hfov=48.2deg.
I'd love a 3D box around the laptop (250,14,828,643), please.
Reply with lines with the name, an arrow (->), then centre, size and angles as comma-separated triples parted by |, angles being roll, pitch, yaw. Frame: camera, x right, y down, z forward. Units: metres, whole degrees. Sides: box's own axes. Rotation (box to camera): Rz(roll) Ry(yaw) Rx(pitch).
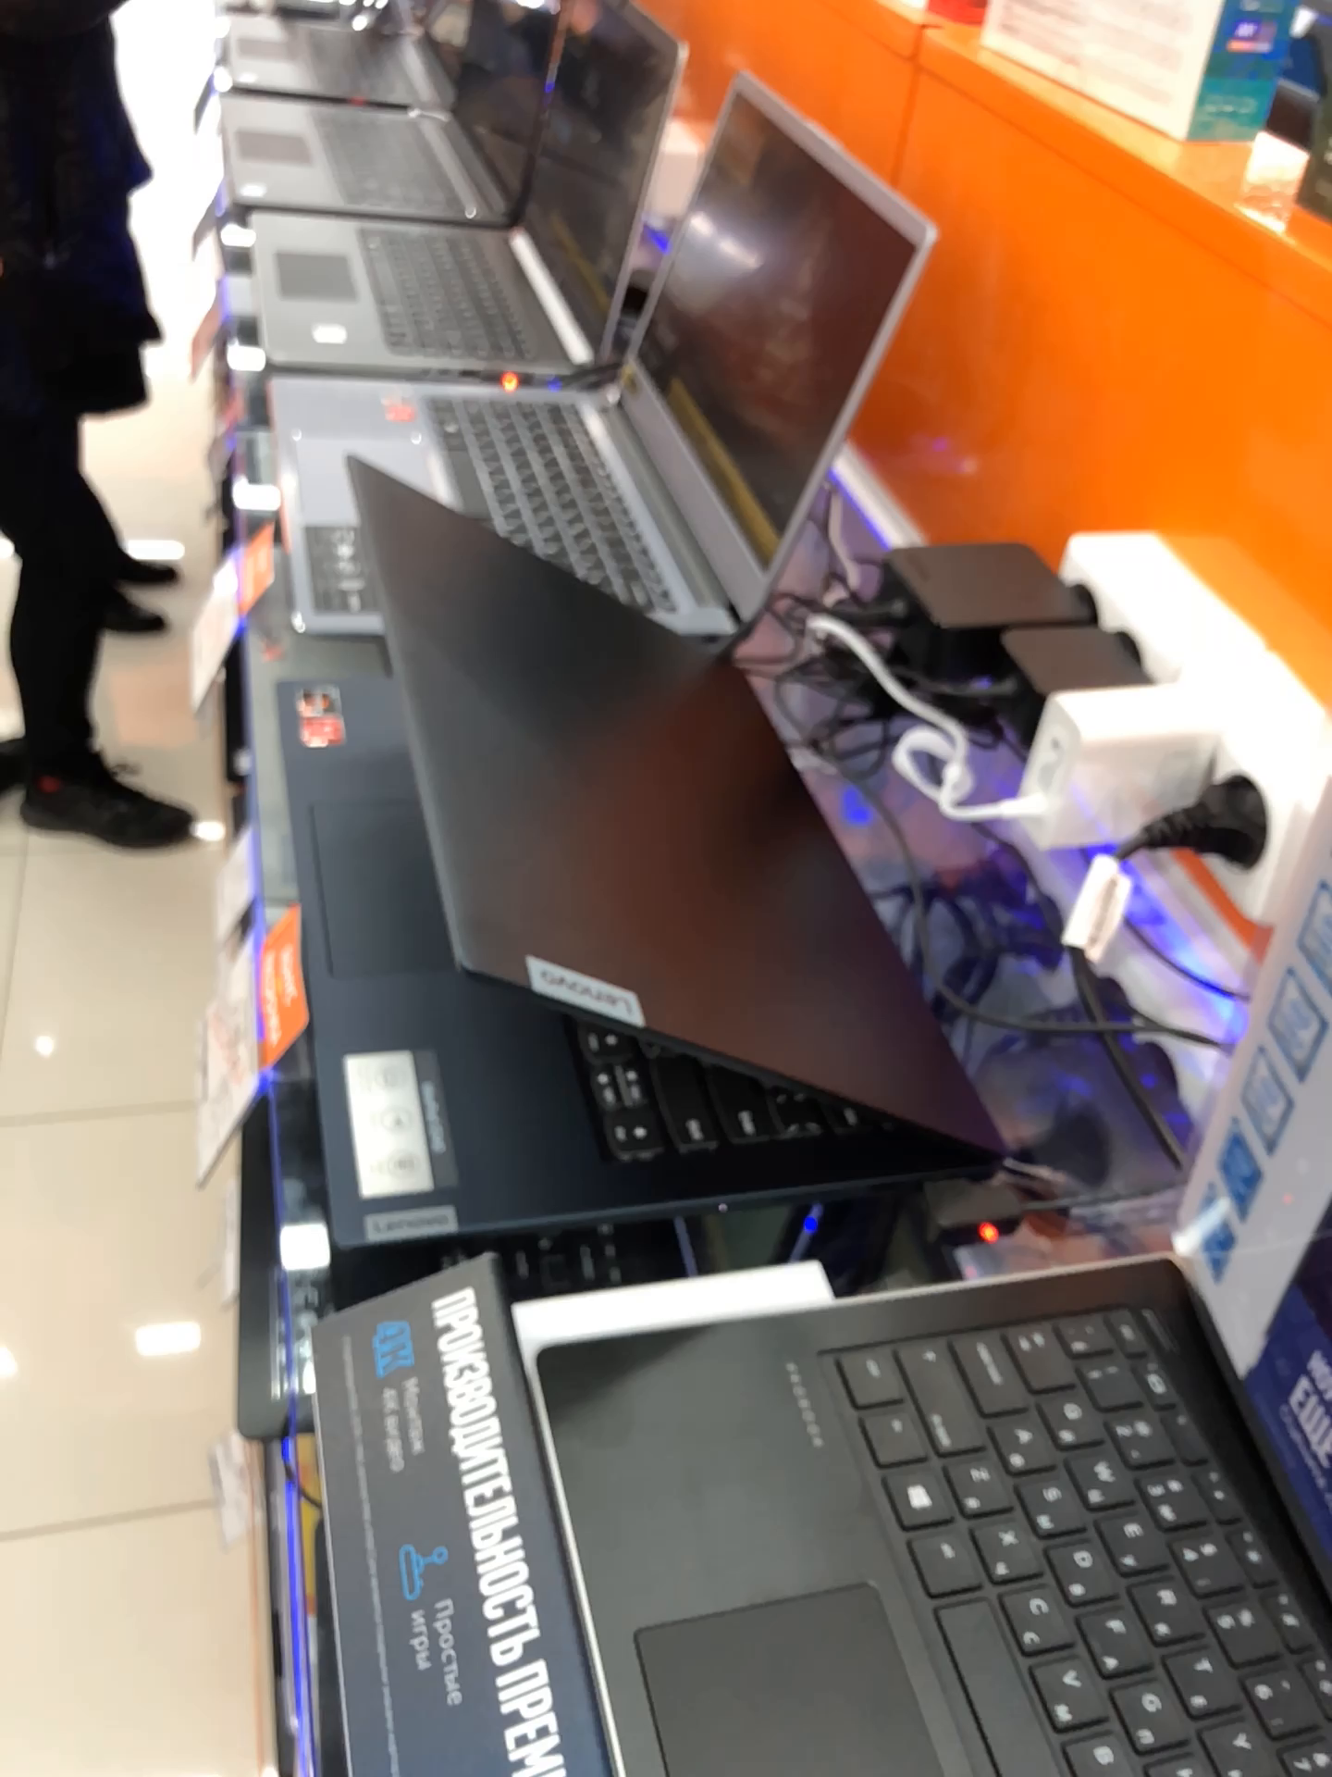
laptop -> -0.093, -0.303, 0.790 | 0.224, 0.203, 0.317 | -2, 39, -15

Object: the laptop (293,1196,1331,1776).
laptop -> -0.003, 0.310, 0.487 | 0.225, 0.215, 0.354 | 0, 38, -13

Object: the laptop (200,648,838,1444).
laptop -> -0.101, 0.067, 0.777 | 0.246, 0.230, 0.344 | 0, 38, -13

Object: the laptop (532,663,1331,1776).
laptop -> 0.128, 0.143, 0.247 | 0.228, 0.213, 0.307 | 0, 38, -15

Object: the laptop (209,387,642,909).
laptop -> -0.192, -0.182, 1.077 | 0.235, 0.207, 0.349 | -4, 41, -16

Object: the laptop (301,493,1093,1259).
laptop -> -0.020, -0.030, 0.541 | 0.212, 0.106, 0.300 | -2, 38, -15
